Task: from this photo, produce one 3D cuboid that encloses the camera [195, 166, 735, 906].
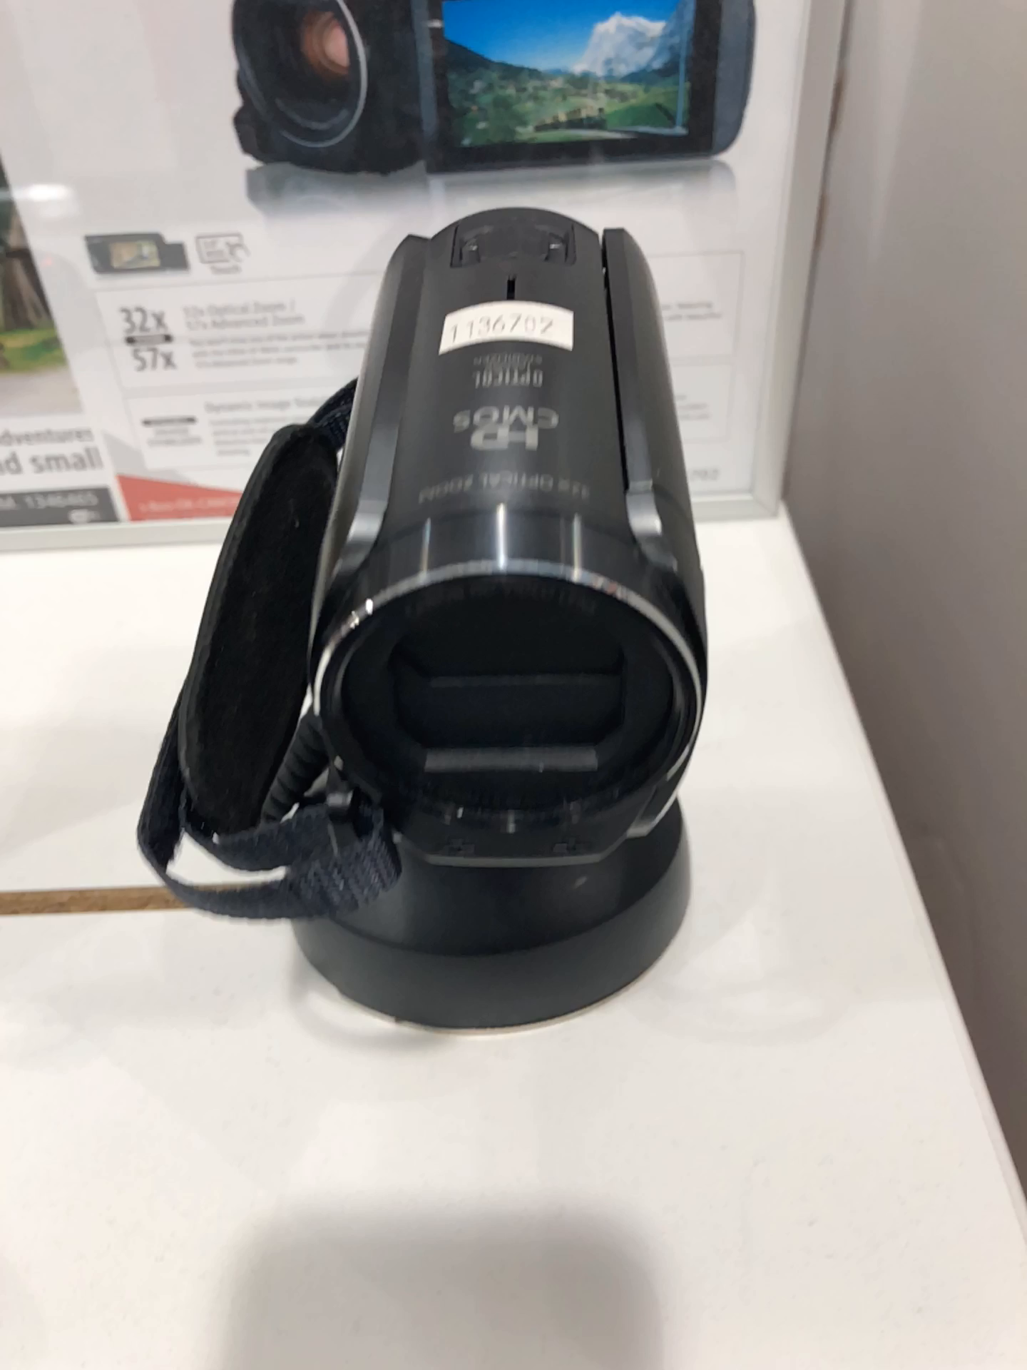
[{"bbox_3d":[-0.004,-0.034,0.197,0.060,0.060,0.131,-1,42,2],"label":"camera"}]
